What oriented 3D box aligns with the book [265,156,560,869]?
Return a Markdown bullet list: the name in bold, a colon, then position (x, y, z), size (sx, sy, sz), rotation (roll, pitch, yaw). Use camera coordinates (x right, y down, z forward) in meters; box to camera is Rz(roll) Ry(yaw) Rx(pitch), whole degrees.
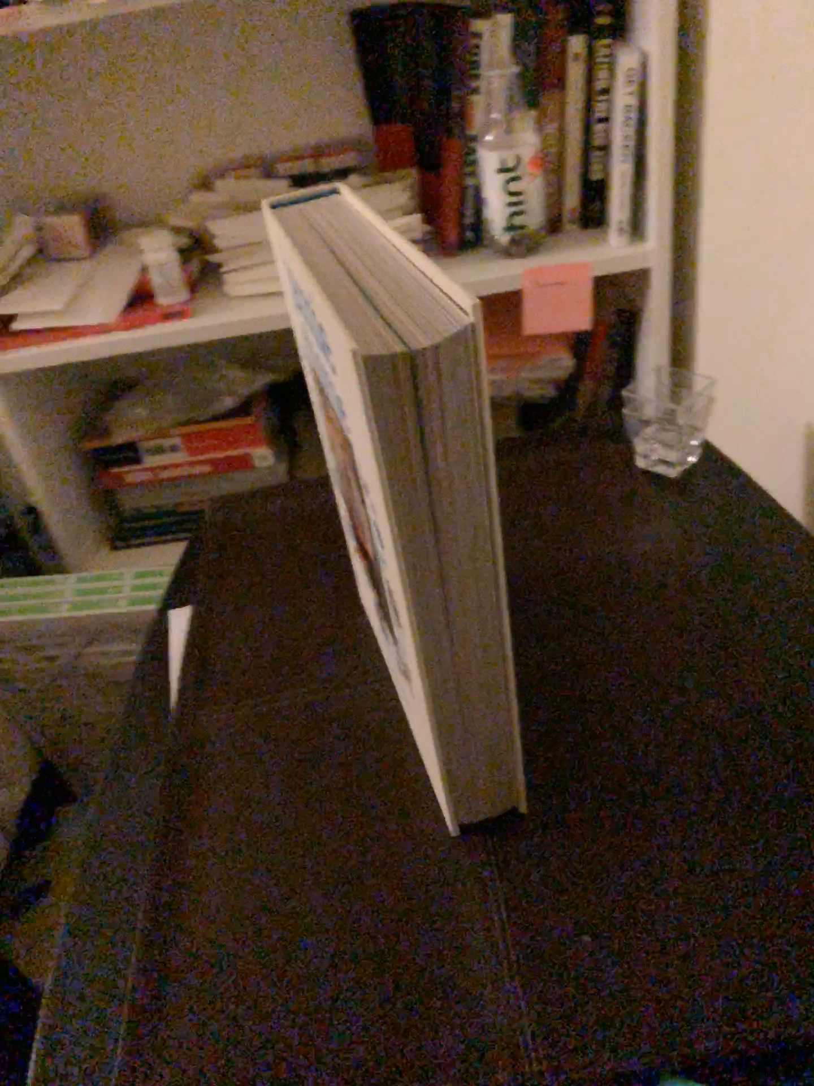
- **book**: position (0.002, -0.019, 0.404), size (0.050, 0.268, 0.211), rotation (-16, 36, -6)
